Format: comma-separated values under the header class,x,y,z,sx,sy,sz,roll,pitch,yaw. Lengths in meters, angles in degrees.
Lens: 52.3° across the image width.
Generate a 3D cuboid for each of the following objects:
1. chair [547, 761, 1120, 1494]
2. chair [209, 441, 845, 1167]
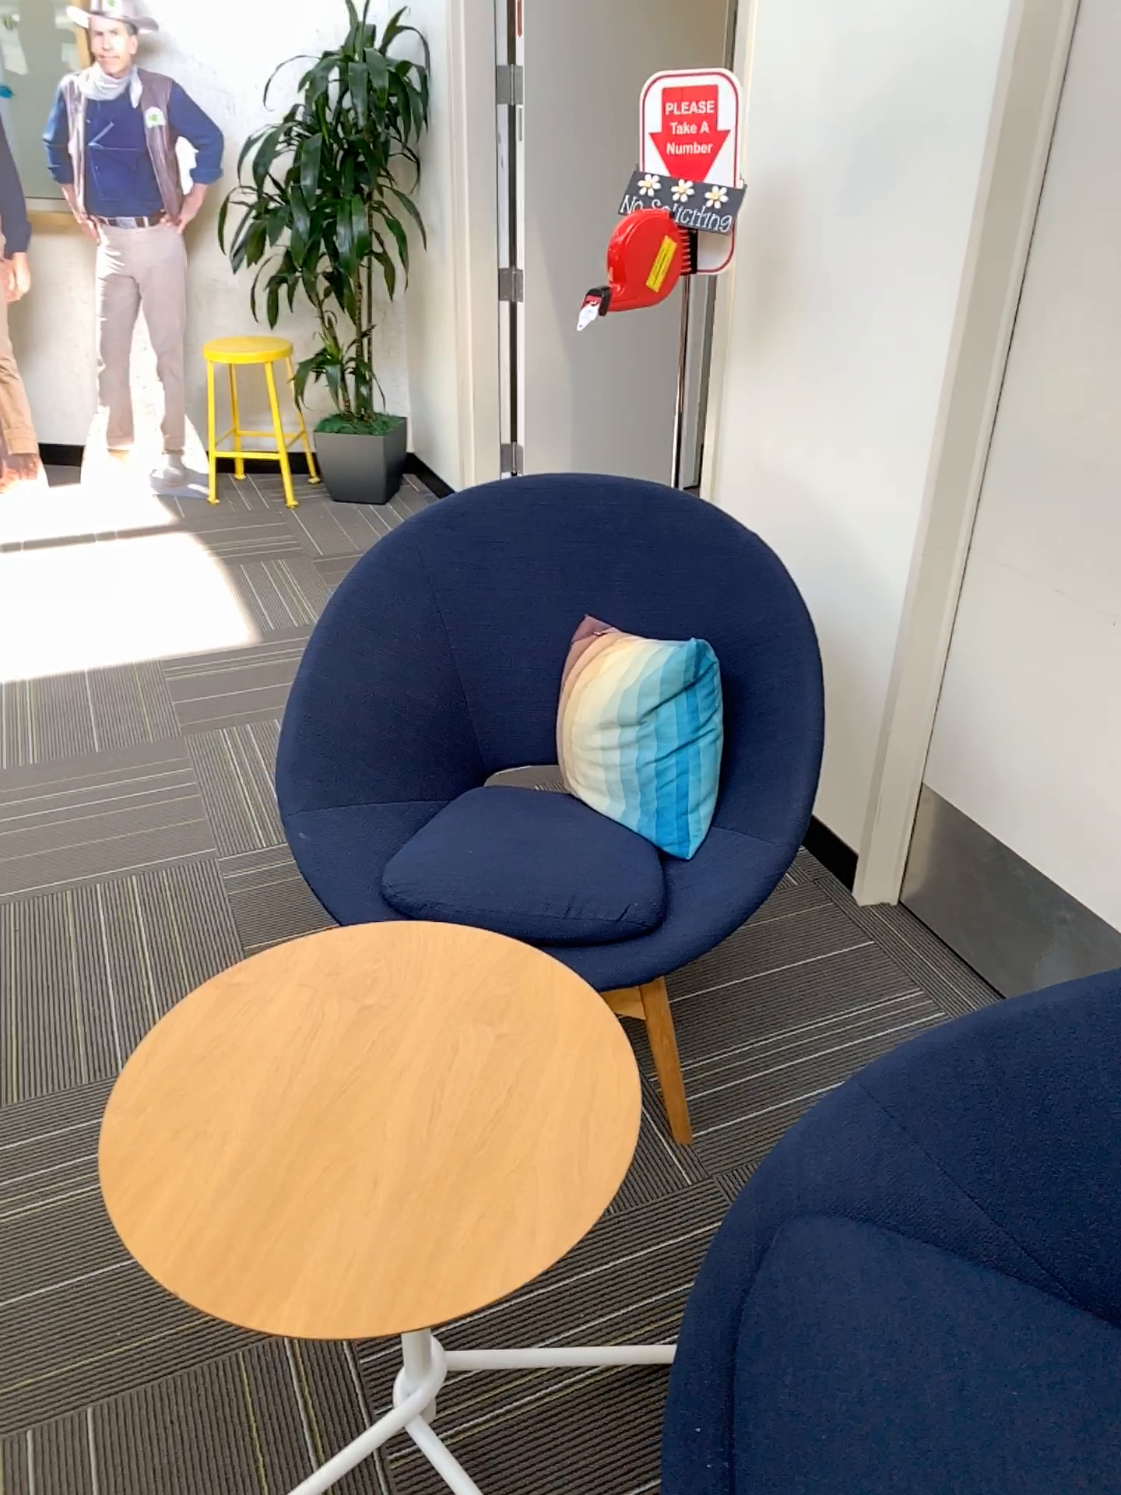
class,x,y,z,sx,sy,sz,roll,pitch,yaw
chair,0.588,0.706,1.047,0.981,0.944,0.834,10,31,15
chair,0.015,0.025,1.997,0.791,0.835,0.844,8,31,12
